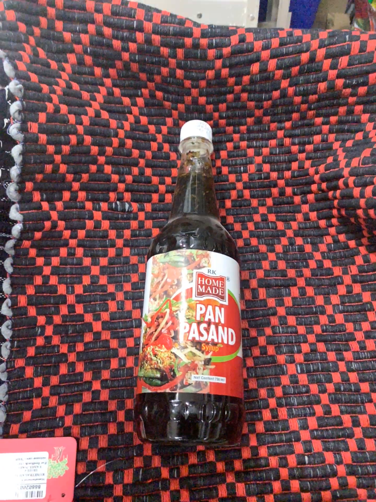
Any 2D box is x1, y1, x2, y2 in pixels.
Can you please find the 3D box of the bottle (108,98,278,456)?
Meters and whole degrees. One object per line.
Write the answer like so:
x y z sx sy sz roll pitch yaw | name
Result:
0.007 0.002 0.314 0.090 0.080 0.280 2 58 1 | bottle
